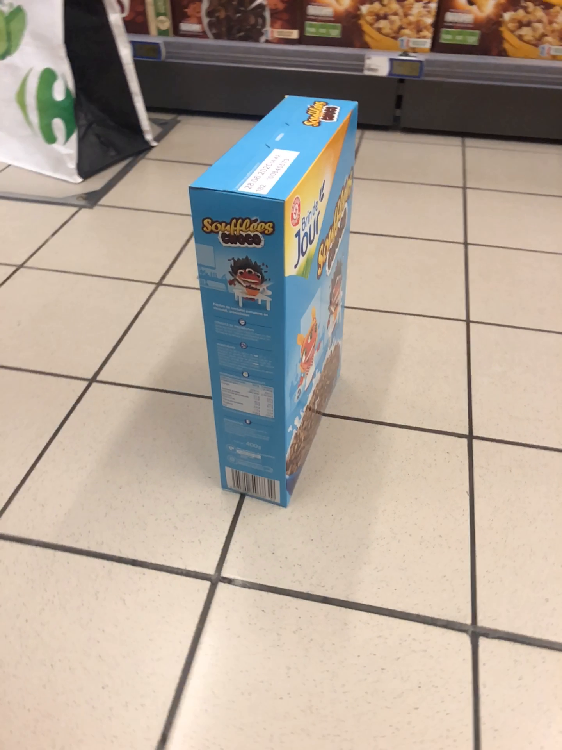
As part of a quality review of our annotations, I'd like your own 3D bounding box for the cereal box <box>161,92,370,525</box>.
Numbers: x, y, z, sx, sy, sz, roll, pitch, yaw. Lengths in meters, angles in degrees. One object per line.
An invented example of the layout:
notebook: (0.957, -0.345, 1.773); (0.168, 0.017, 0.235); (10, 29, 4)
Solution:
cereal box: (-0.001, -0.053, 0.518); (0.080, 0.288, 0.201); (13, 41, 14)
